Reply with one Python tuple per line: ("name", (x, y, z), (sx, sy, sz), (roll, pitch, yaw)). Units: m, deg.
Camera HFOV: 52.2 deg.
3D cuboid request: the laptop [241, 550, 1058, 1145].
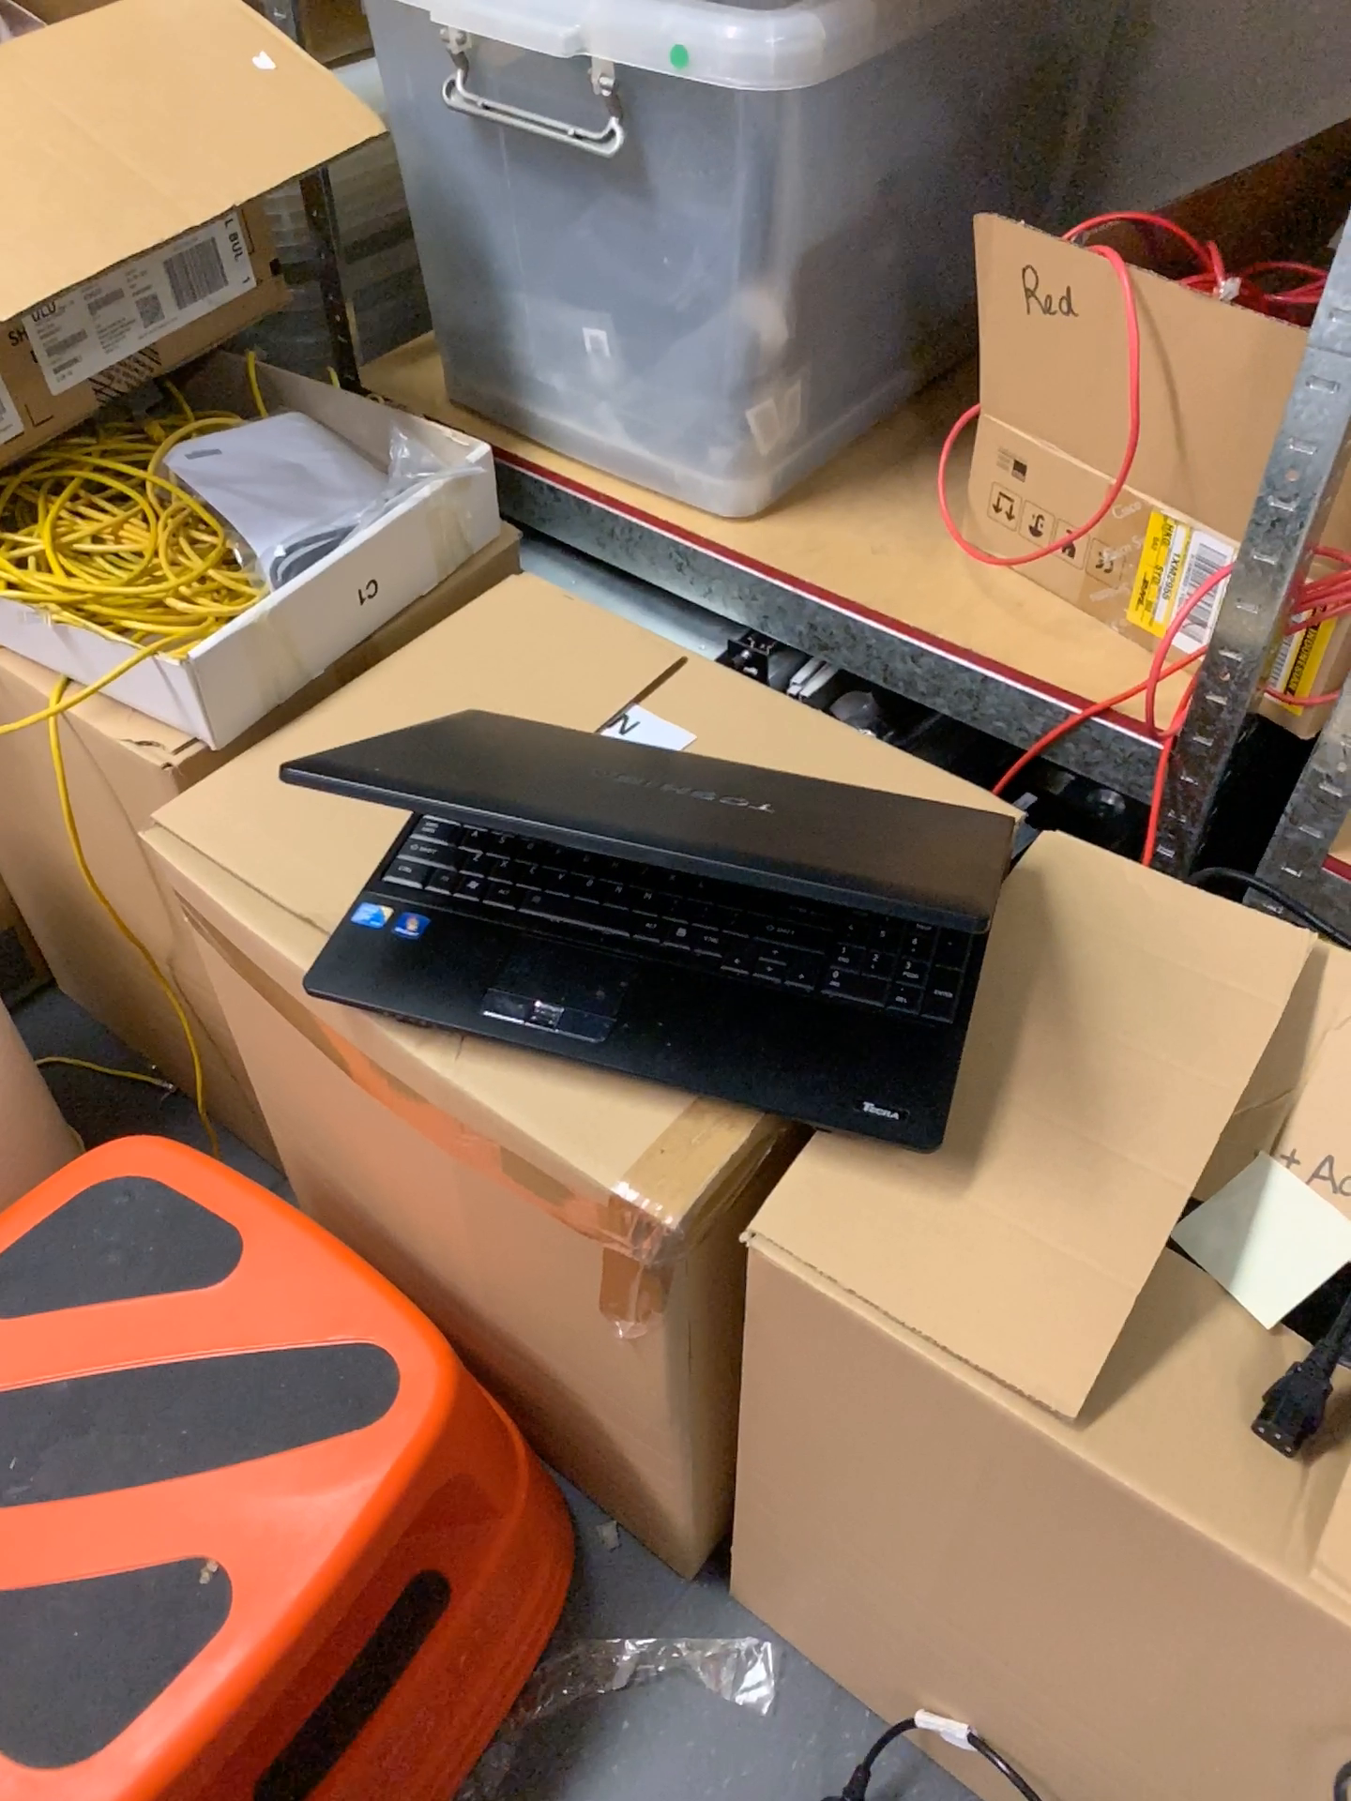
("laptop", (-0.002, -0.040, 0.759), (0.354, 0.135, 0.232), (13, 50, 11))
